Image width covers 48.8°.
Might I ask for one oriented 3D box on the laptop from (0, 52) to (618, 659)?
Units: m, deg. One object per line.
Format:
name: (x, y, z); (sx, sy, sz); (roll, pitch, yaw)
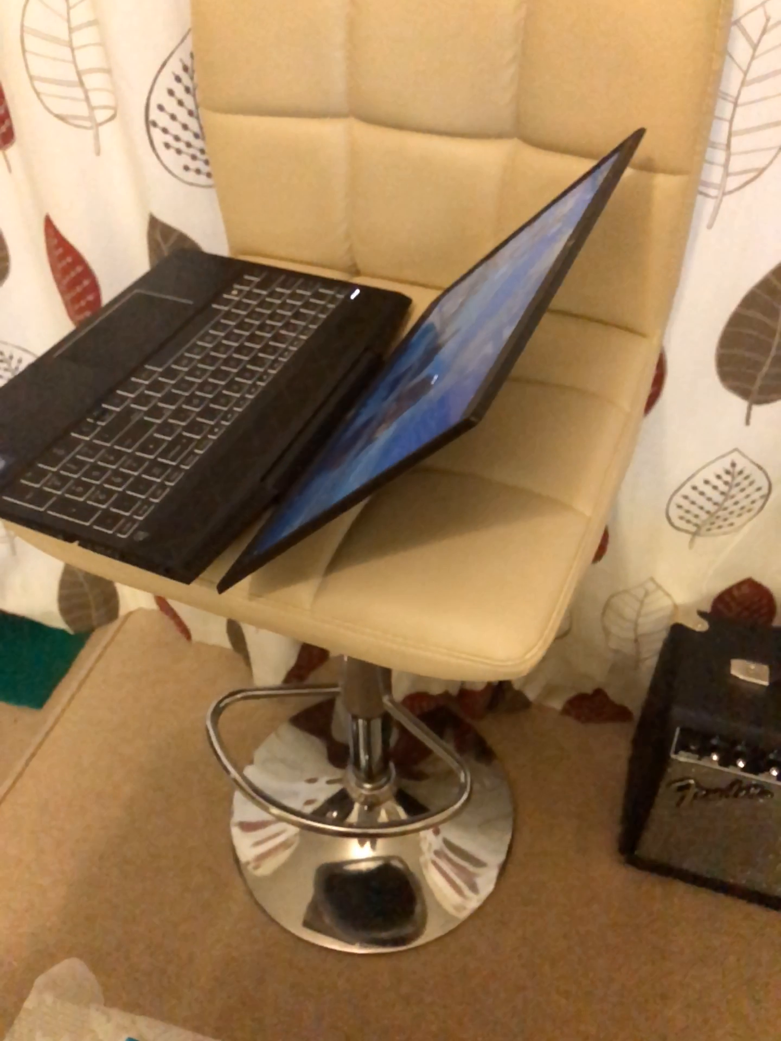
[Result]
laptop: (-0.095, -0.153, 0.583); (0.401, 0.159, 0.349); (17, 46, 16)
